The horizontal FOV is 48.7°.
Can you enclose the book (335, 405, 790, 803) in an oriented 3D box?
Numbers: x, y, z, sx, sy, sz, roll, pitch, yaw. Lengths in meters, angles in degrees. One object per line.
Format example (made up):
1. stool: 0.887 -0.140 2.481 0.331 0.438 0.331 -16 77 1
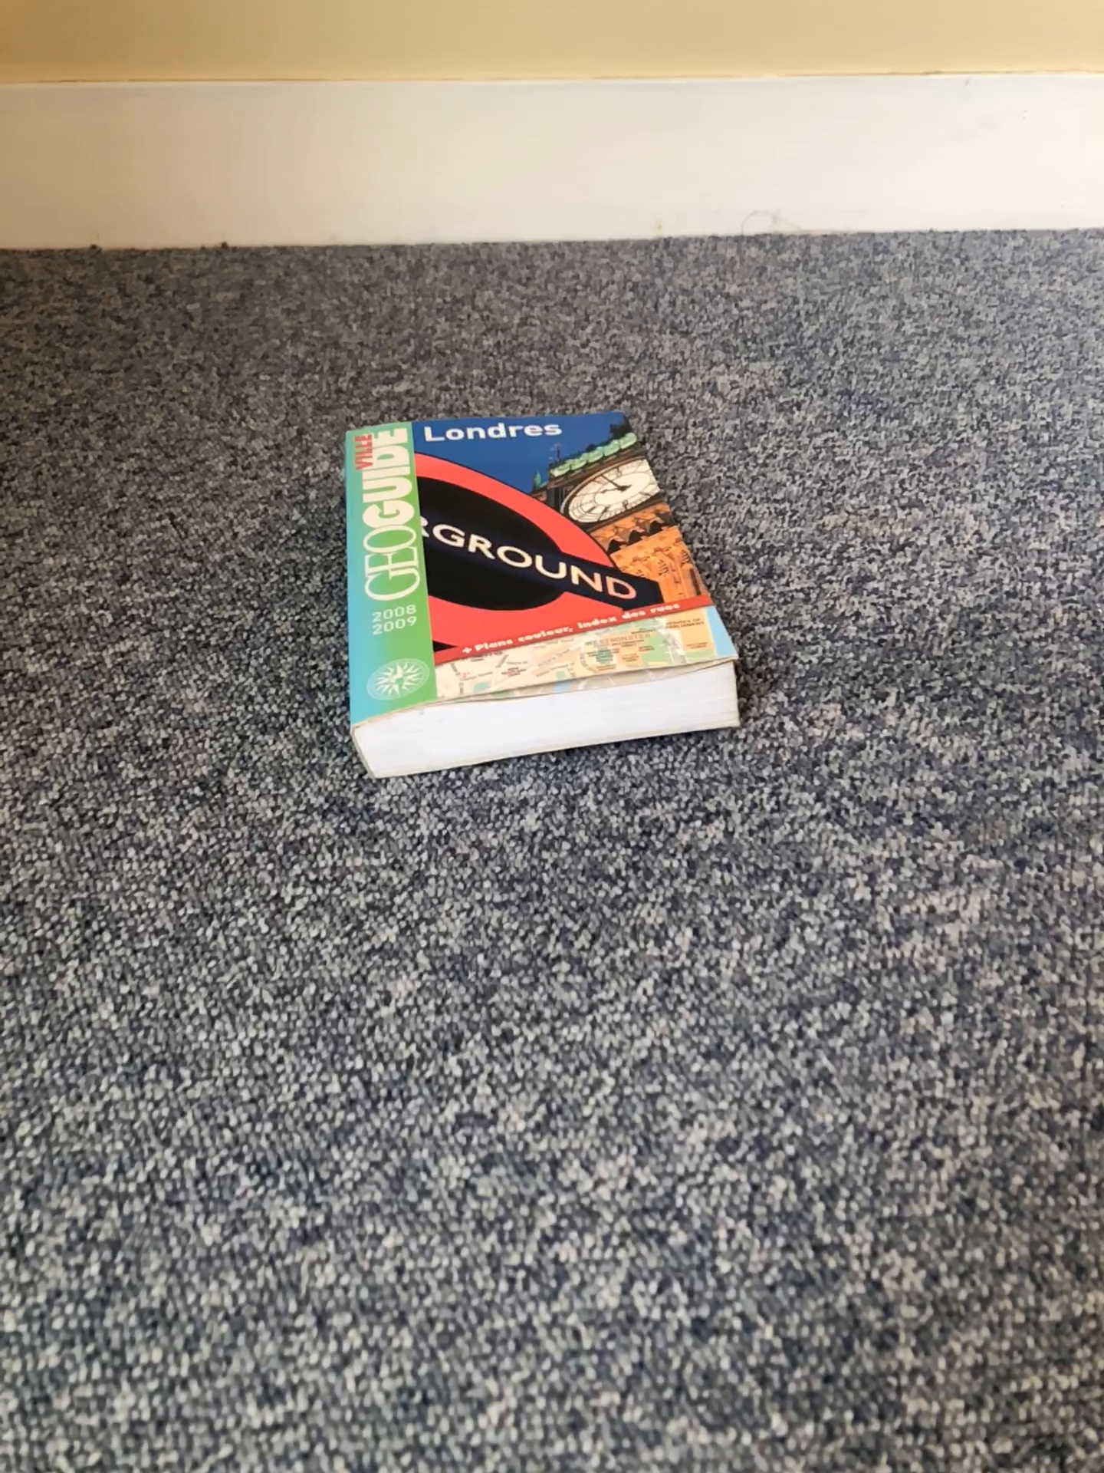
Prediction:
1. book: -0.009 -0.060 0.440 0.130 0.030 0.201 -6 39 -7
